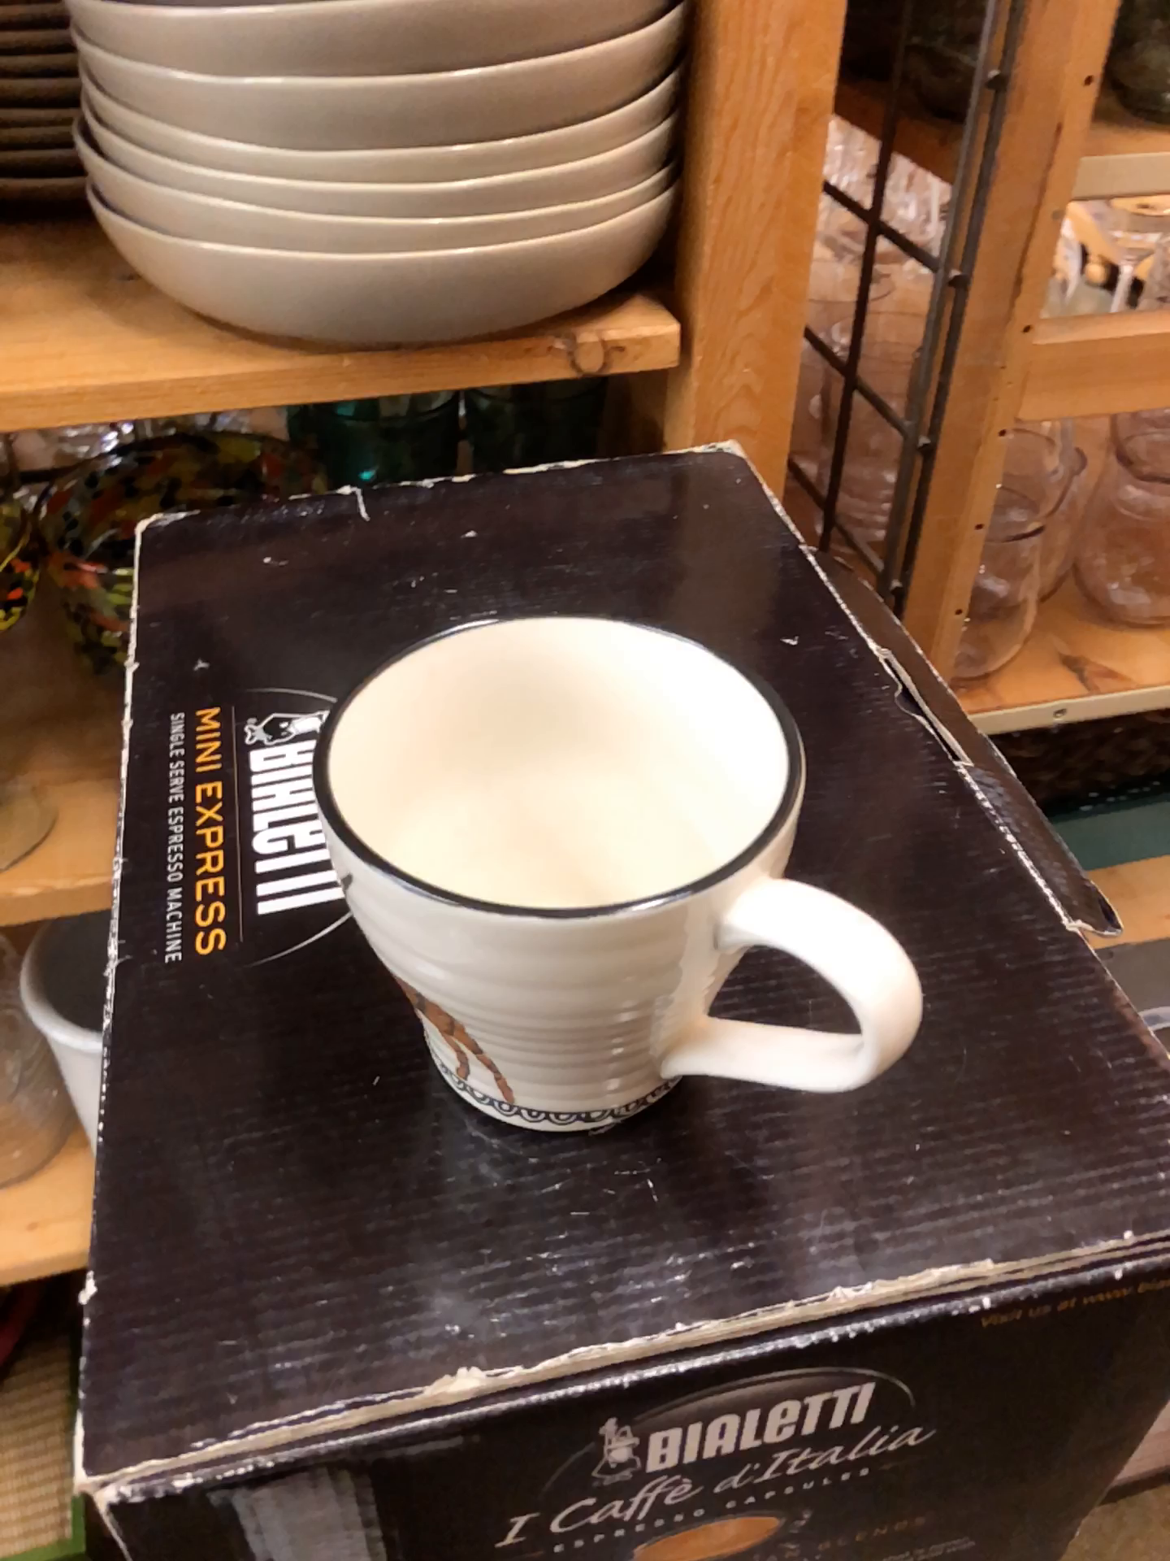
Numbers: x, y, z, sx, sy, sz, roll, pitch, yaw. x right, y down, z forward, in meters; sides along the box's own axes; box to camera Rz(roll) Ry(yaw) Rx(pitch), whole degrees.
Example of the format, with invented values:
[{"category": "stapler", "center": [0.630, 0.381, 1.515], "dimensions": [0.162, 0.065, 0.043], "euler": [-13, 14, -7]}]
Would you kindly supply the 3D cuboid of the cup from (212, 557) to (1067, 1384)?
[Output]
[{"category": "cup", "center": [0.011, 0.030, 0.275], "dimensions": [0.131, 0.084, 0.102], "euler": [24, 45, 25]}]
